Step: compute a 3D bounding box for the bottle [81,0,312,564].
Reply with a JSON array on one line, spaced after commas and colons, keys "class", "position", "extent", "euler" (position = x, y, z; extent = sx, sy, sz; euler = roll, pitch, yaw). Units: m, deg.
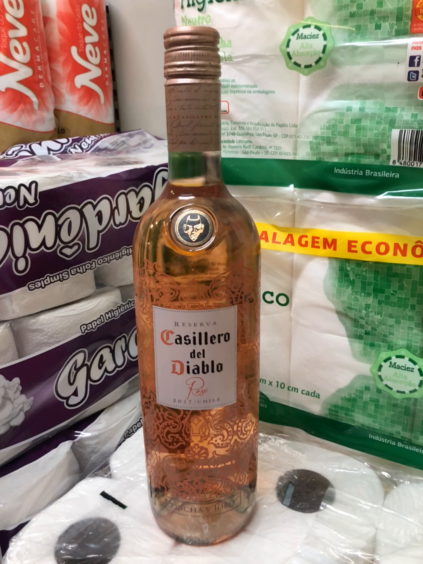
[{"class": "bottle", "position": [0.005, 0.003, 0.266], "extent": [0.090, 0.308, 0.080], "euler": [1, 19, 10]}]
